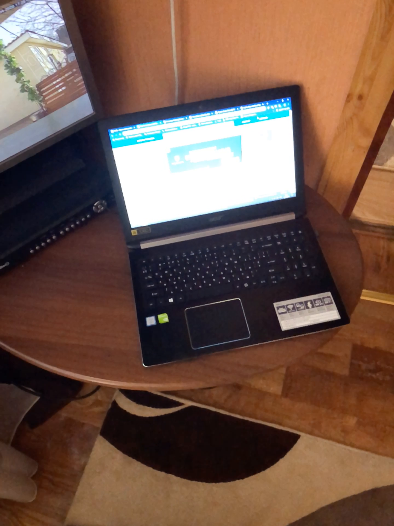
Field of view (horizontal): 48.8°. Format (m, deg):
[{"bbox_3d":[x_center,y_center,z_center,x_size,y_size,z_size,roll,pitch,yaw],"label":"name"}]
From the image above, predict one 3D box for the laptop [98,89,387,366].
[{"bbox_3d":[0.050,-0.073,0.775,0.372,0.186,0.391,-11,60,-5],"label":"laptop"}]
